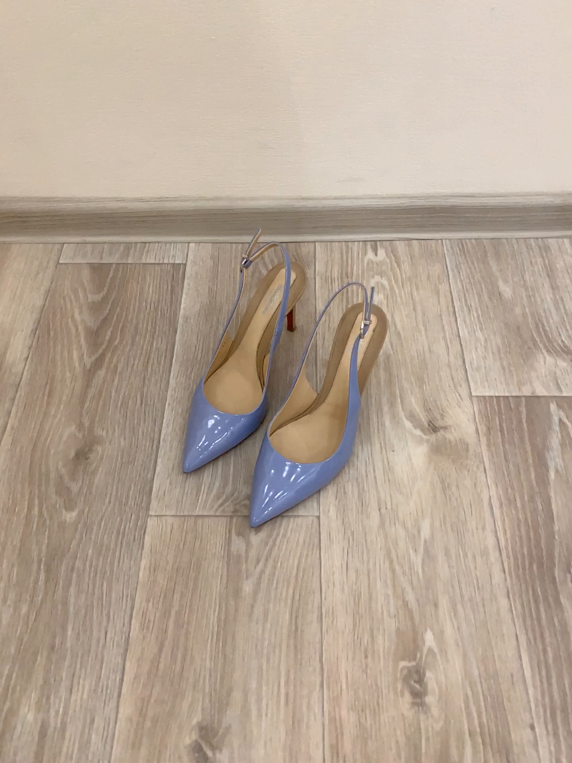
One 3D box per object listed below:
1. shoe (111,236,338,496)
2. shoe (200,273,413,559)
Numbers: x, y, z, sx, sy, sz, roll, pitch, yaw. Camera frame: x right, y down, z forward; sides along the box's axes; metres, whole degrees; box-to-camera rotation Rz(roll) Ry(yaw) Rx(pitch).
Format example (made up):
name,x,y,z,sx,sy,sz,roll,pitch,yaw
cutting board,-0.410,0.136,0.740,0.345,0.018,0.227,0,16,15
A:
name,x,y,z,sx,sy,sz,roll,pitch,yaw
shoe,-0.048,-0.021,0.575,0.089,0.100,0.231,27,61,18
shoe,0.026,0.025,0.539,0.089,0.100,0.231,23,59,15
